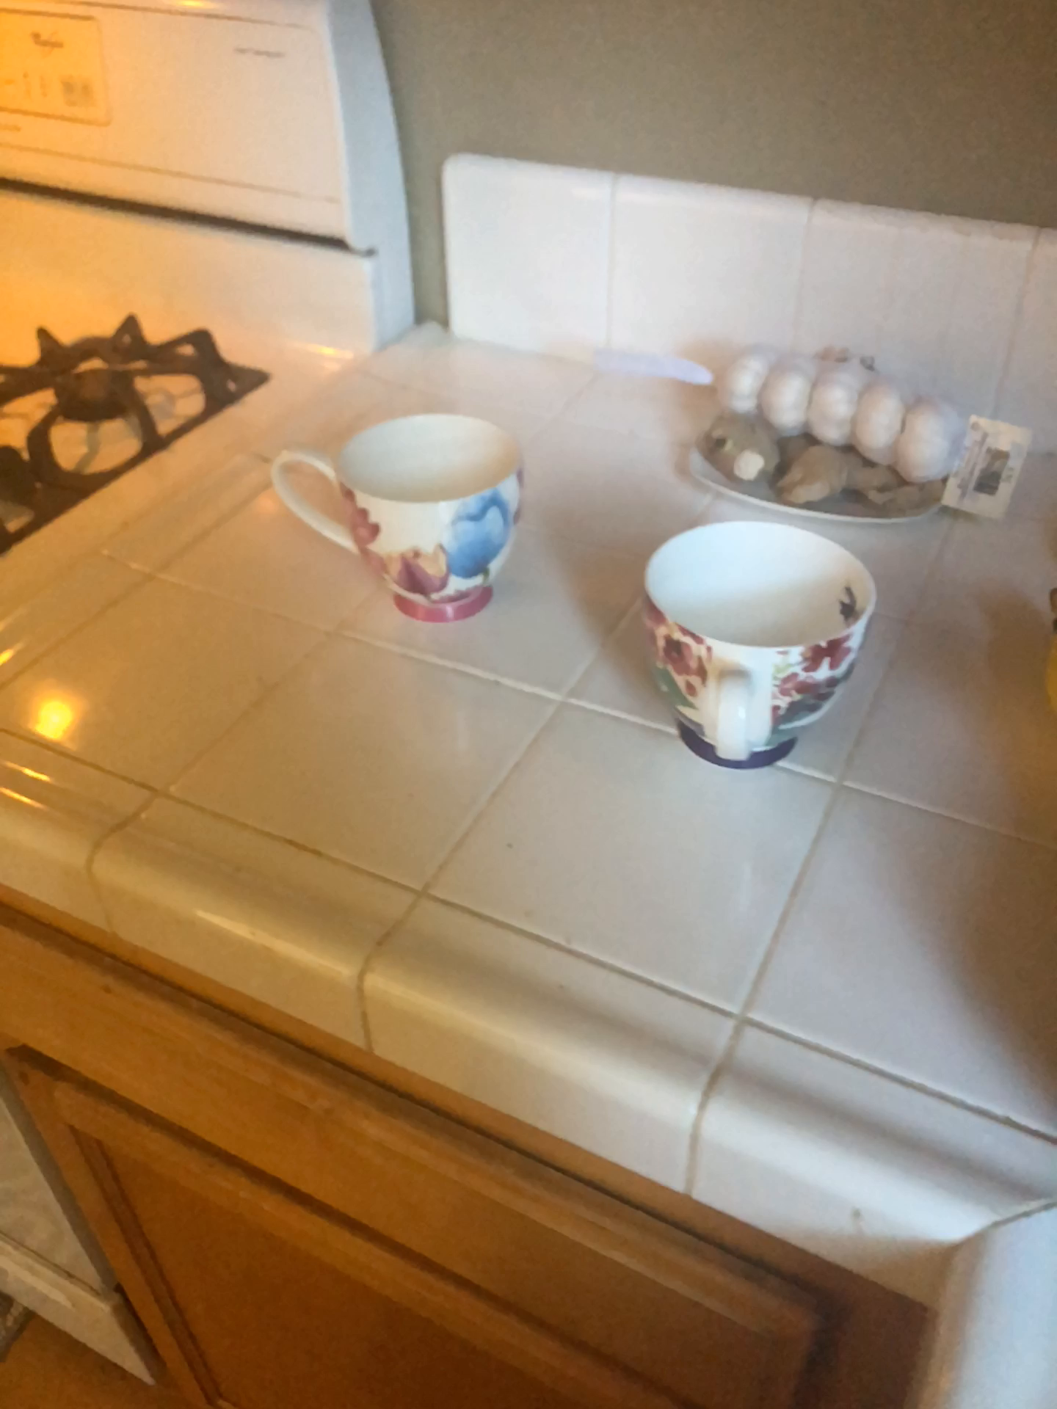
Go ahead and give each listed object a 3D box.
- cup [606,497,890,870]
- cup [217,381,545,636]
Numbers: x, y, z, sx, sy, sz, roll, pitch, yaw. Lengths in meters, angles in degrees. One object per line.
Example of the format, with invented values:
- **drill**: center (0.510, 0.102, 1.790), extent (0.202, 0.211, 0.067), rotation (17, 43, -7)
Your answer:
- **cup**: center (0.107, -0.016, 0.560), extent (0.110, 0.089, 0.151), rotation (8, 41, 12)
- **cup**: center (-0.080, -0.119, 0.686), extent (0.150, 0.079, 0.111), rotation (14, 42, 17)
